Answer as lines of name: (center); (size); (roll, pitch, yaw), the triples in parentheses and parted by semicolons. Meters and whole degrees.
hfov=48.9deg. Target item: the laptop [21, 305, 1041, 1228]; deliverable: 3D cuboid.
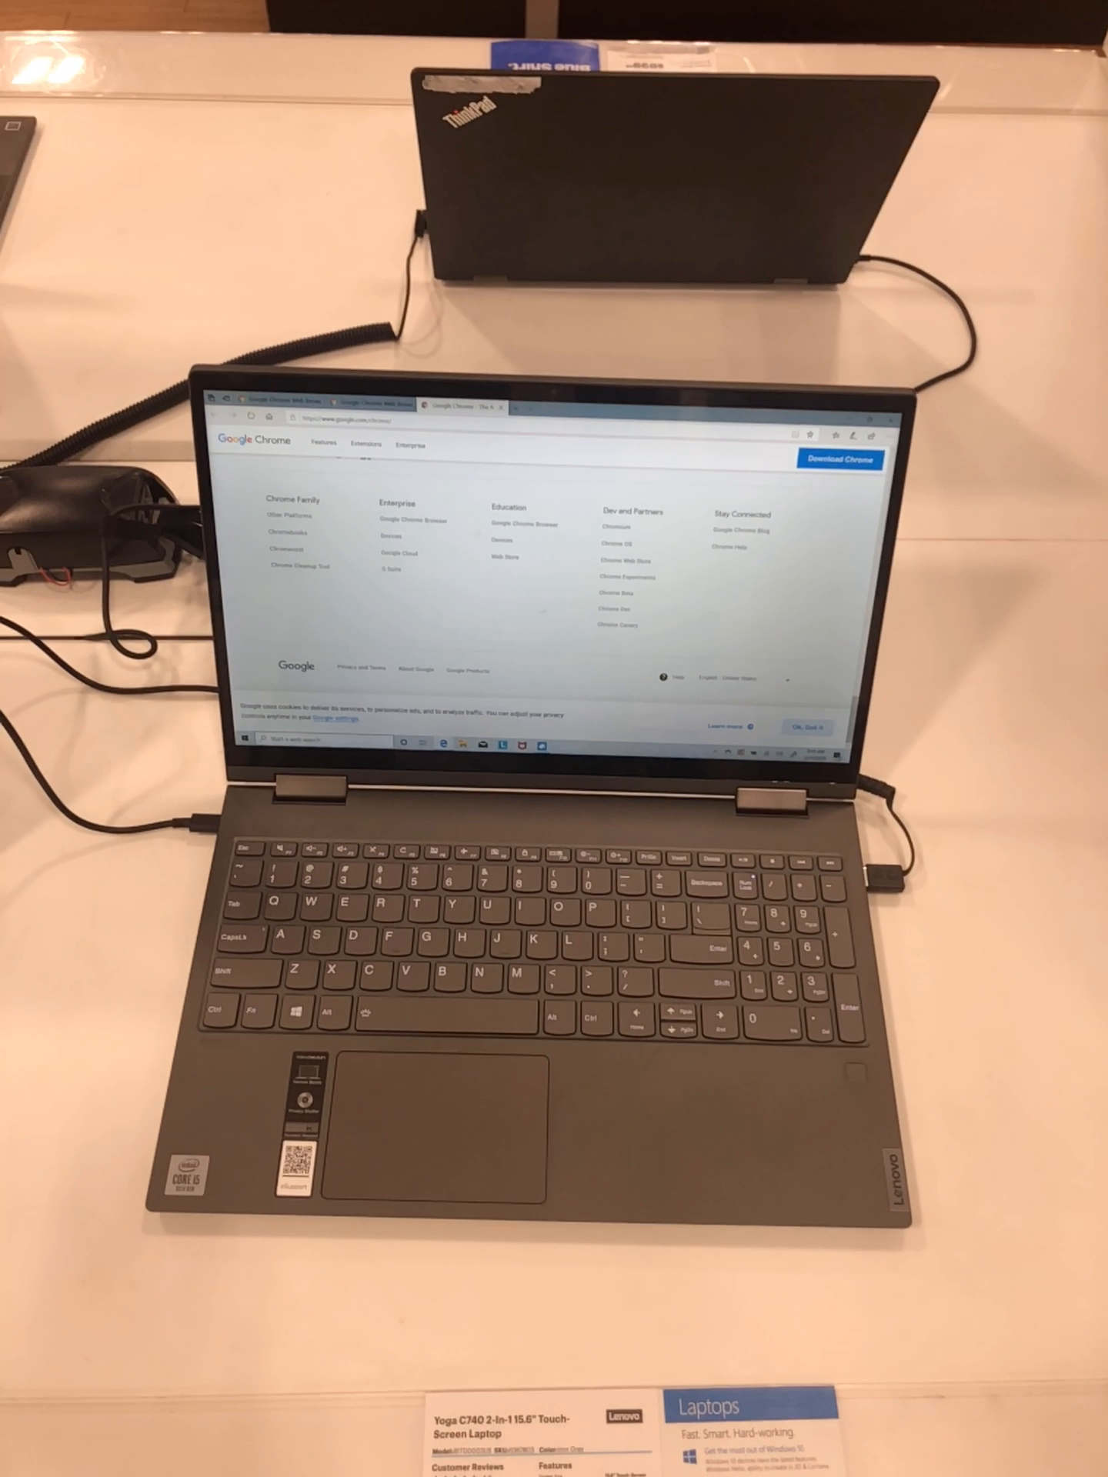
laptop: (-0.008, 0.011, 0.579); (0.352, 0.179, 0.365); (2, 62, -1)
